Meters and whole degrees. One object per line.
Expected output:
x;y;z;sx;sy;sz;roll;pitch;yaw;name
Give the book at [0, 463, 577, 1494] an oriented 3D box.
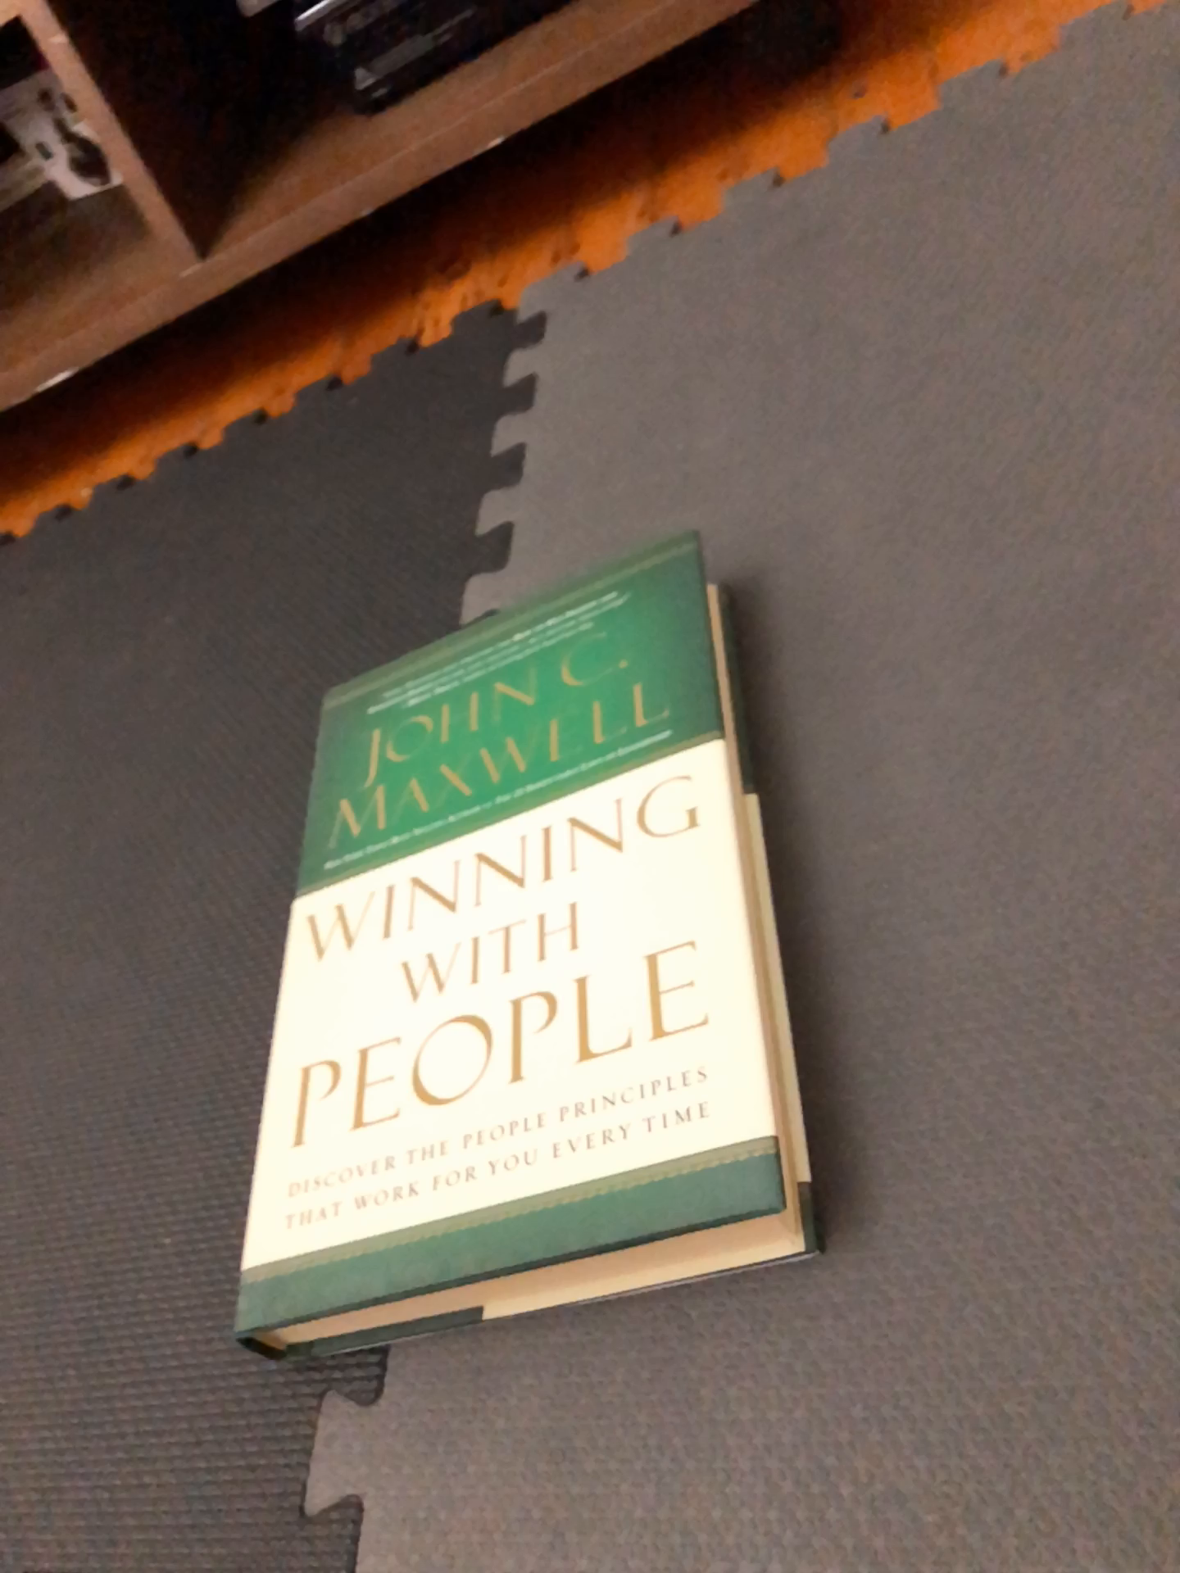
-0.102;0.040;0.397;0.200;0.030;0.291;-19;46;23;book
